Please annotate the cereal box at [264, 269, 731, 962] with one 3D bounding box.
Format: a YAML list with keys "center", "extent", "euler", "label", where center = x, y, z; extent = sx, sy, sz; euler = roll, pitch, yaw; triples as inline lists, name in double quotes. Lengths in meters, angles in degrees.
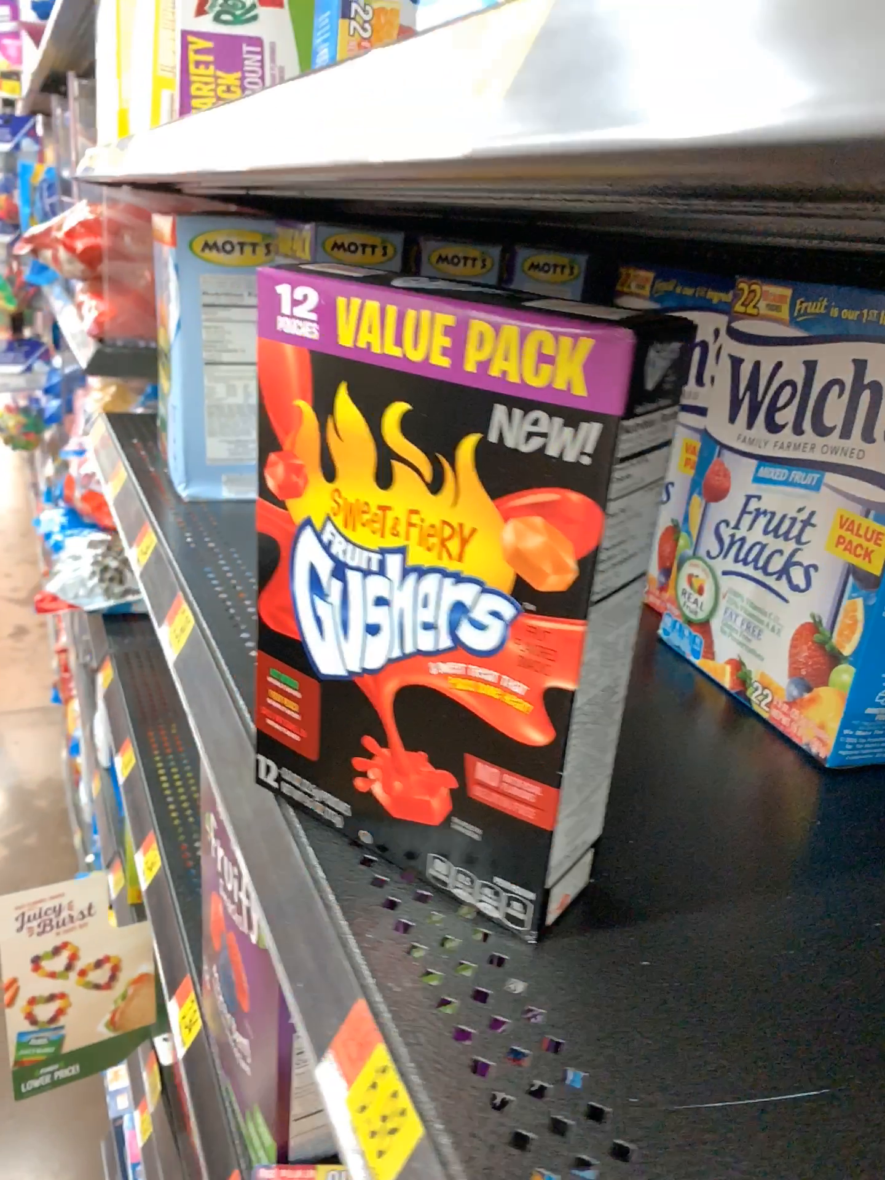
- center: [0.005, 0.004, 0.343]
  extent: [0.150, 0.219, 0.050]
  euler: [20, 28, 31]
  label: "cereal box"
